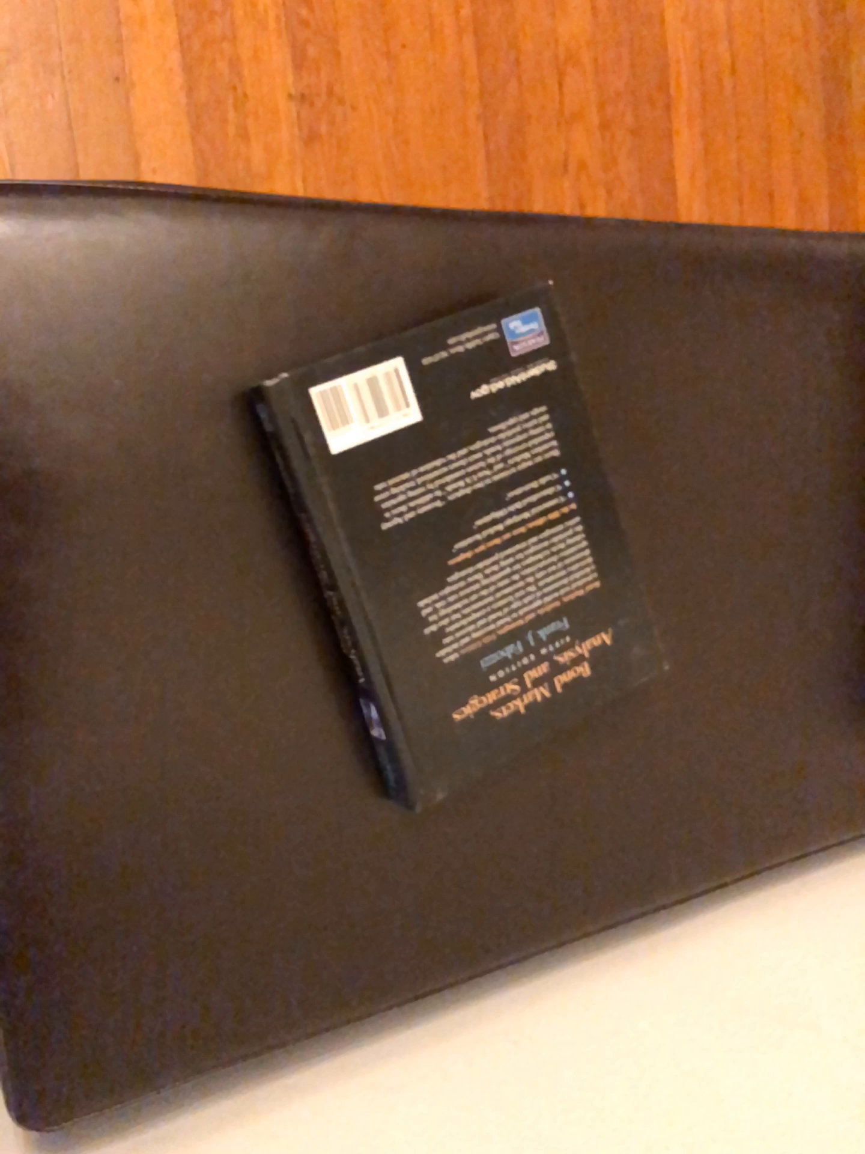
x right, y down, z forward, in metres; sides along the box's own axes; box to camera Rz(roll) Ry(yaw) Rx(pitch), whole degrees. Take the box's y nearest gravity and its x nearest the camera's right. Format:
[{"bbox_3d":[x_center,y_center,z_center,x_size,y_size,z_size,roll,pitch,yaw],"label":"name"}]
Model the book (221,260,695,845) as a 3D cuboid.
[{"bbox_3d":[0.027,-0.018,0.536,0.201,0.040,0.260,-25,104,-24],"label":"book"}]
